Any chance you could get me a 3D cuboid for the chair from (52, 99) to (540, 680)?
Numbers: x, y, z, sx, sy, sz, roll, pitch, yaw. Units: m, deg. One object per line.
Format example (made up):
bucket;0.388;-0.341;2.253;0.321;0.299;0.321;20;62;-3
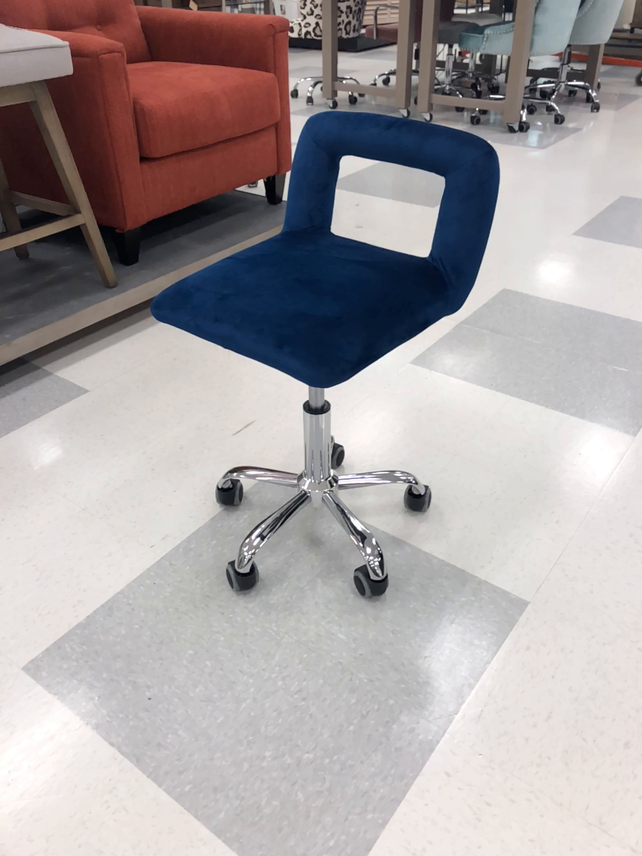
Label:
chair;-0.009;-0.103;1.179;0.448;0.719;0.531;23;40;32
